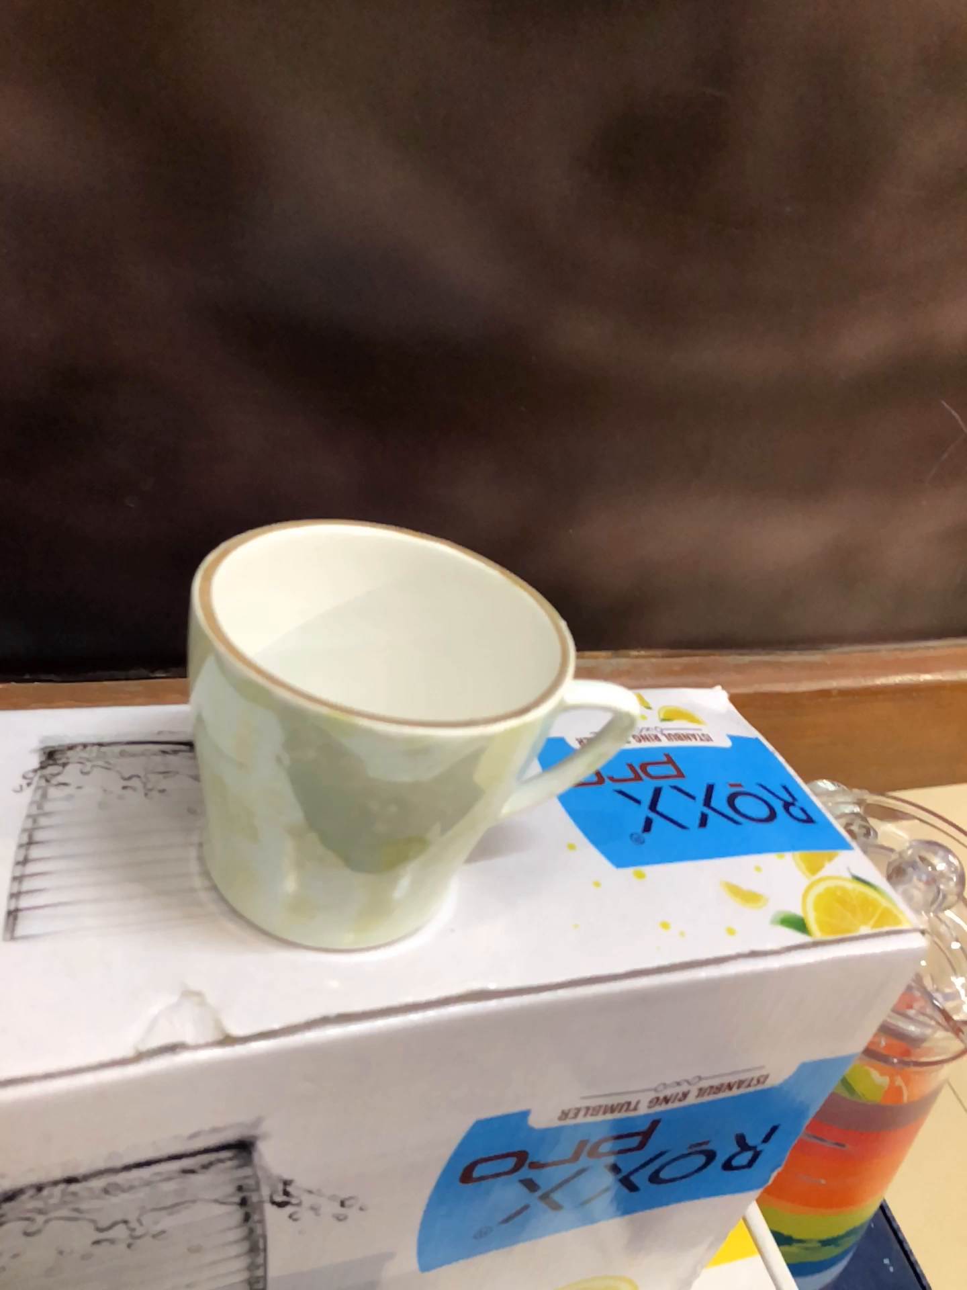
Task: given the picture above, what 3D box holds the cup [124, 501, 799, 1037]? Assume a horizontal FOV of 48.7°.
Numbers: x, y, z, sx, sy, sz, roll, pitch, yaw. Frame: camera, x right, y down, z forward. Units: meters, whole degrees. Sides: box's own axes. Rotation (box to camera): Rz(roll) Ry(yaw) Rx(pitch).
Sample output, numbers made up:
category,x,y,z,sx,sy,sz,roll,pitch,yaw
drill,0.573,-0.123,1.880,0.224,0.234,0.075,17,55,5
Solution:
category,x,y,z,sx,sy,sz,roll,pitch,yaw
cup,-0.009,0.017,0.207,0.100,0.060,0.070,-2,37,-29
